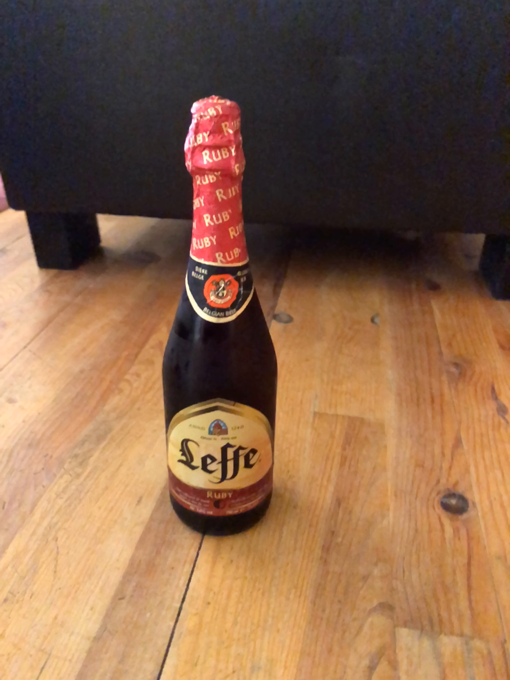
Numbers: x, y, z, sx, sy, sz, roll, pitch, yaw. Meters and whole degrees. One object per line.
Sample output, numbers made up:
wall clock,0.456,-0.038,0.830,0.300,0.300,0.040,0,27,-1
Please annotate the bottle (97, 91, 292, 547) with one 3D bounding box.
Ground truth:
bottle,-0.027,-0.003,0.373,0.090,0.288,0.091,0,29,0
